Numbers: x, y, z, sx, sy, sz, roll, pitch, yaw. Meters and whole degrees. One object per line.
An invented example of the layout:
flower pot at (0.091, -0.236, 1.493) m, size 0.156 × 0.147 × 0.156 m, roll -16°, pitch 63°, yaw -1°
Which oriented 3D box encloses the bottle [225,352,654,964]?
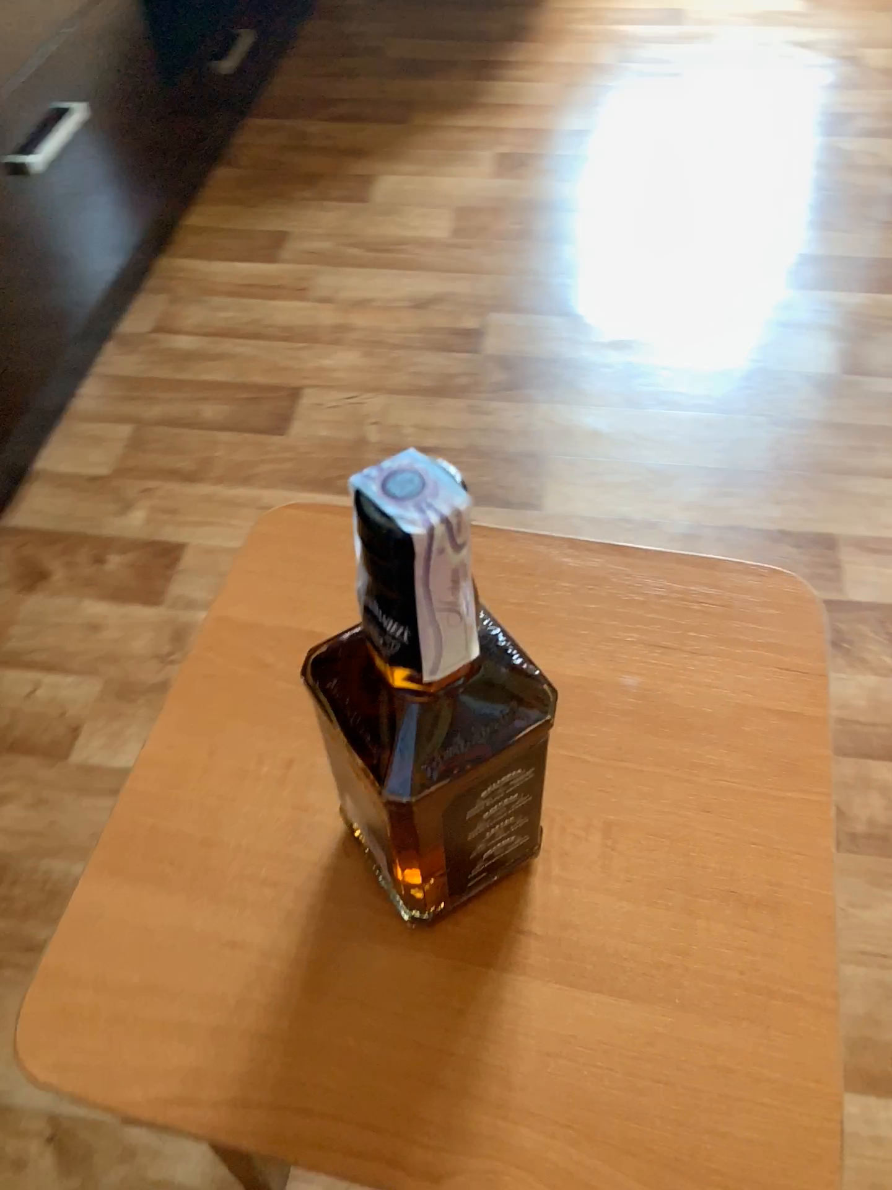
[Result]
bottle at (0.000, 0.037, 0.316) m, size 0.080 × 0.209 × 0.080 m, roll -1°, pitch 51°, yaw 2°
